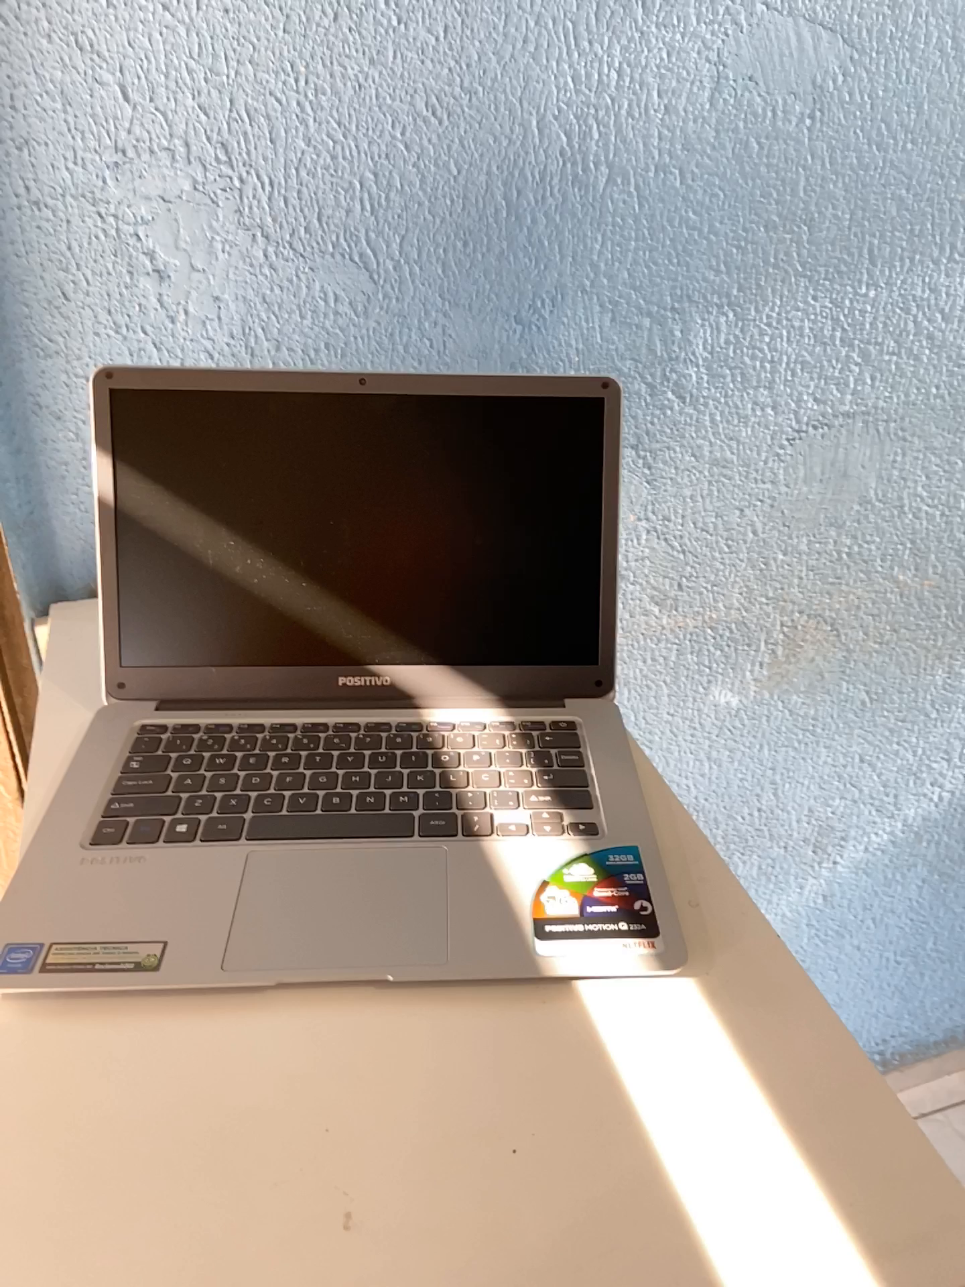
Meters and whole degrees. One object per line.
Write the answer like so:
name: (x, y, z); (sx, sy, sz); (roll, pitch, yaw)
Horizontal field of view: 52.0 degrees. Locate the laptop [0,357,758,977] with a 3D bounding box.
laptop: (-0.073, -0.013, 0.544); (0.333, 0.189, 0.312); (0, 31, -4)
